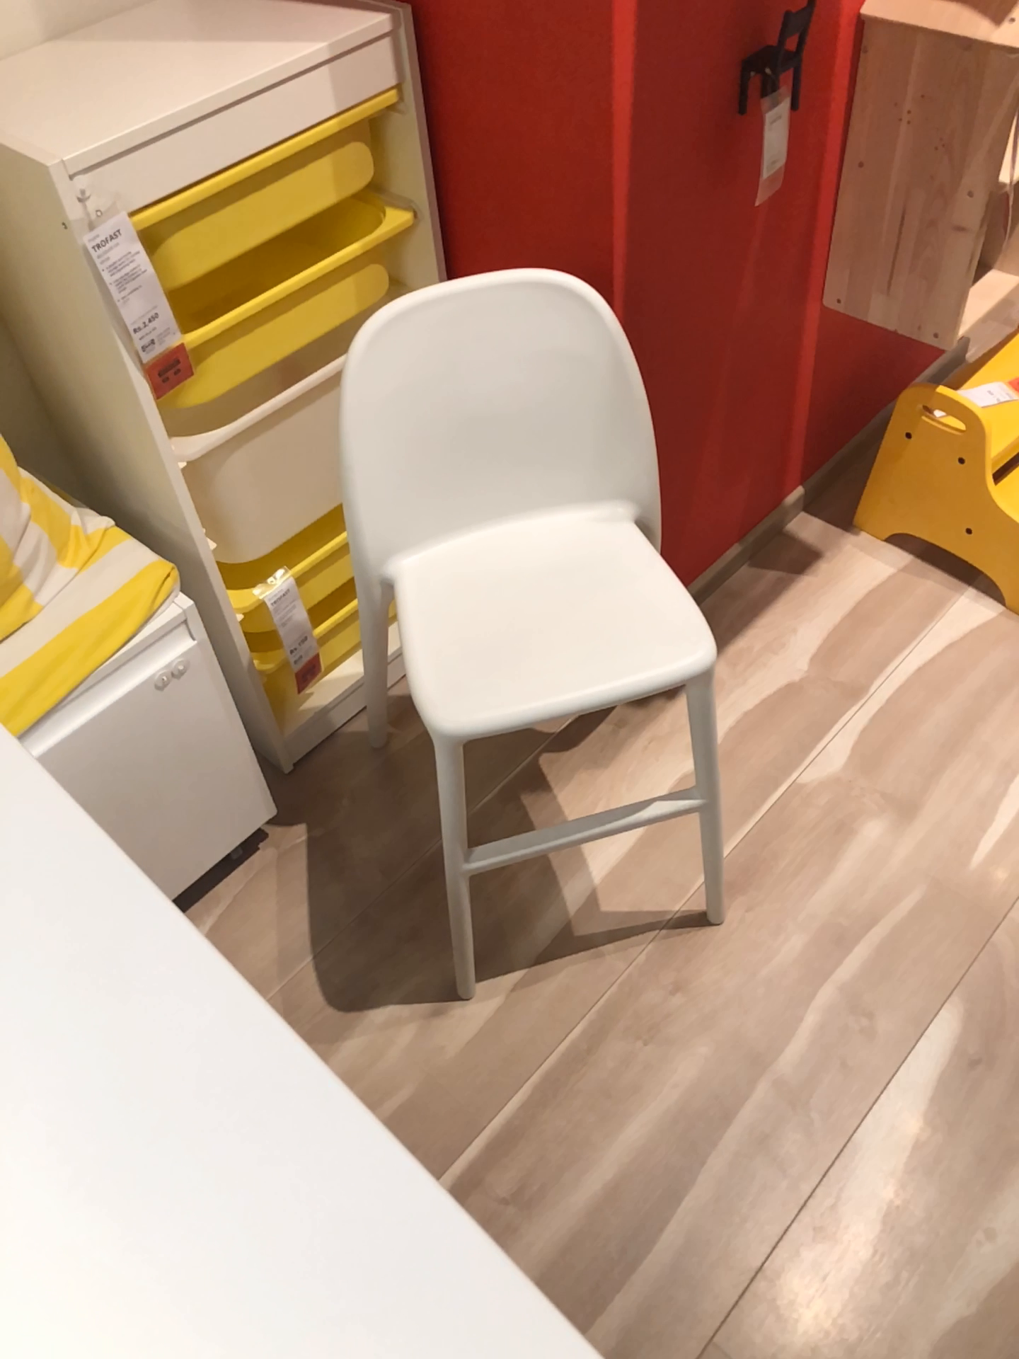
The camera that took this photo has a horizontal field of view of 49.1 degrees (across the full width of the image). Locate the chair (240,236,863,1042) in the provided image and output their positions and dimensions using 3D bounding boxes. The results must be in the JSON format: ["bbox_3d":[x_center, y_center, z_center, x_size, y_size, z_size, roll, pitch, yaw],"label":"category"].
[{"bbox_3d":[0.025,-0.007,1.242,0.420,0.706,0.463,-15,52,-8],"label":"chair"}]
